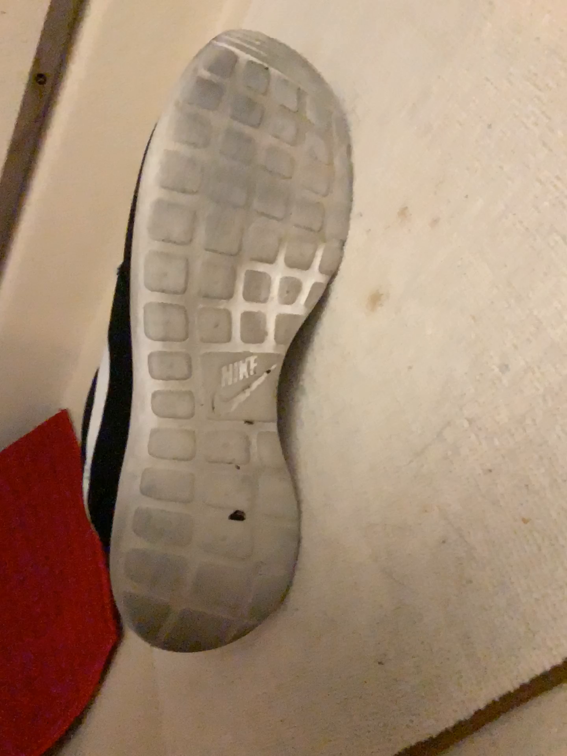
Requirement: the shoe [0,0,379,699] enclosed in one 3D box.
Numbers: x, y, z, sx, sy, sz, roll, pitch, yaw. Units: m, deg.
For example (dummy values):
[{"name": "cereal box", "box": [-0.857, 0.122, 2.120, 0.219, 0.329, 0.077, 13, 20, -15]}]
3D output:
[{"name": "shoe", "box": [-0.068, -0.018, 0.323, 0.180, 0.100, 0.270, 1, 80, 58]}]
